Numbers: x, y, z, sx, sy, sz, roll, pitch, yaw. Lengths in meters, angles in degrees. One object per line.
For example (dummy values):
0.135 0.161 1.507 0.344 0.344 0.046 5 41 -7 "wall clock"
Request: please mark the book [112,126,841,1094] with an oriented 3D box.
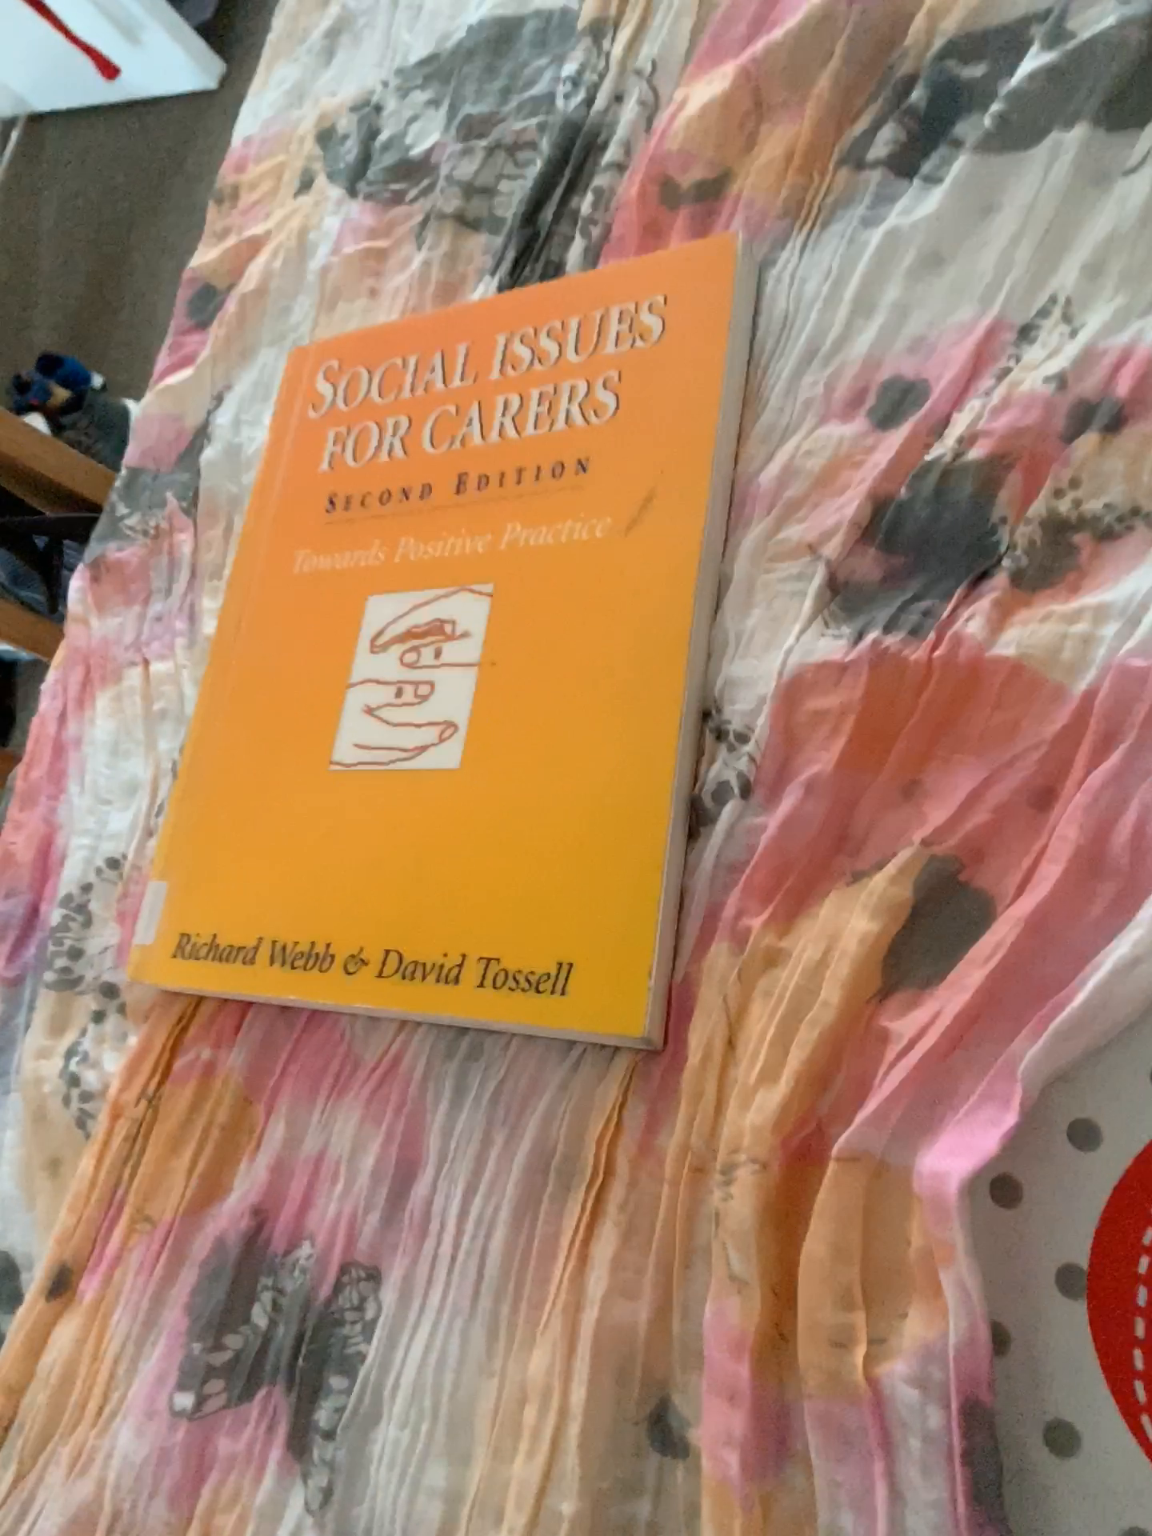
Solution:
-0.031 -0.050 0.375 0.201 0.040 0.271 -2 71 32 "book"
